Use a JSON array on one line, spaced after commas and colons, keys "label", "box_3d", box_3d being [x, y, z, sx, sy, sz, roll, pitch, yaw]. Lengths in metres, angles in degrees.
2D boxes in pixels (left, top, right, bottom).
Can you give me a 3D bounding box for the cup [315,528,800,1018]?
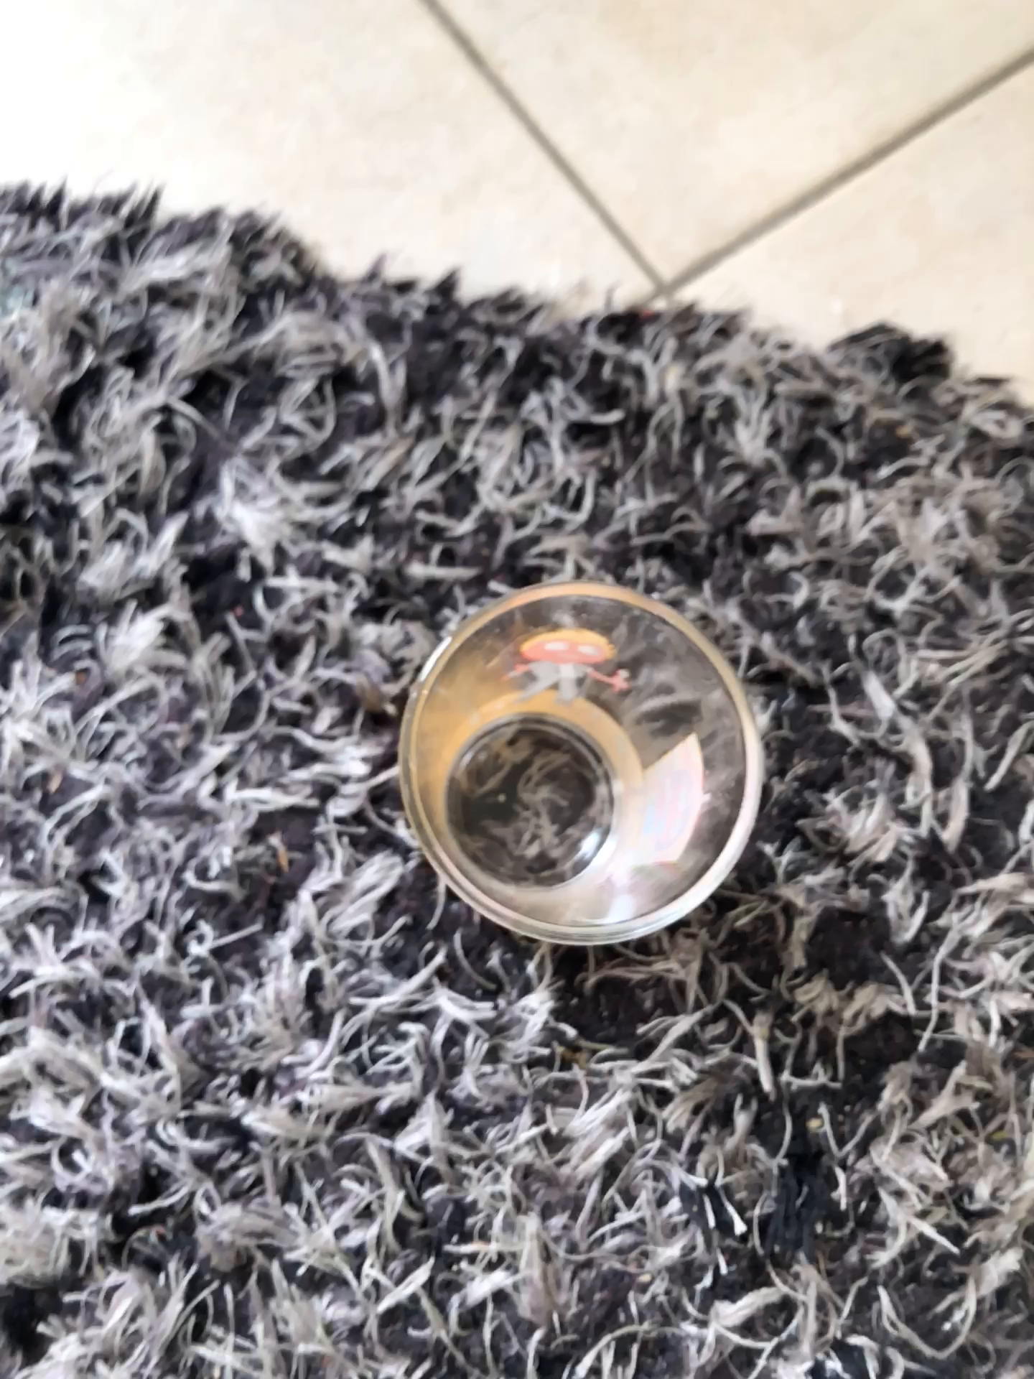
[{"label": "cup", "box_3d": [0.005, 0.023, 0.253, 0.070, 0.100, 0.070, 1, 78, -4]}]
